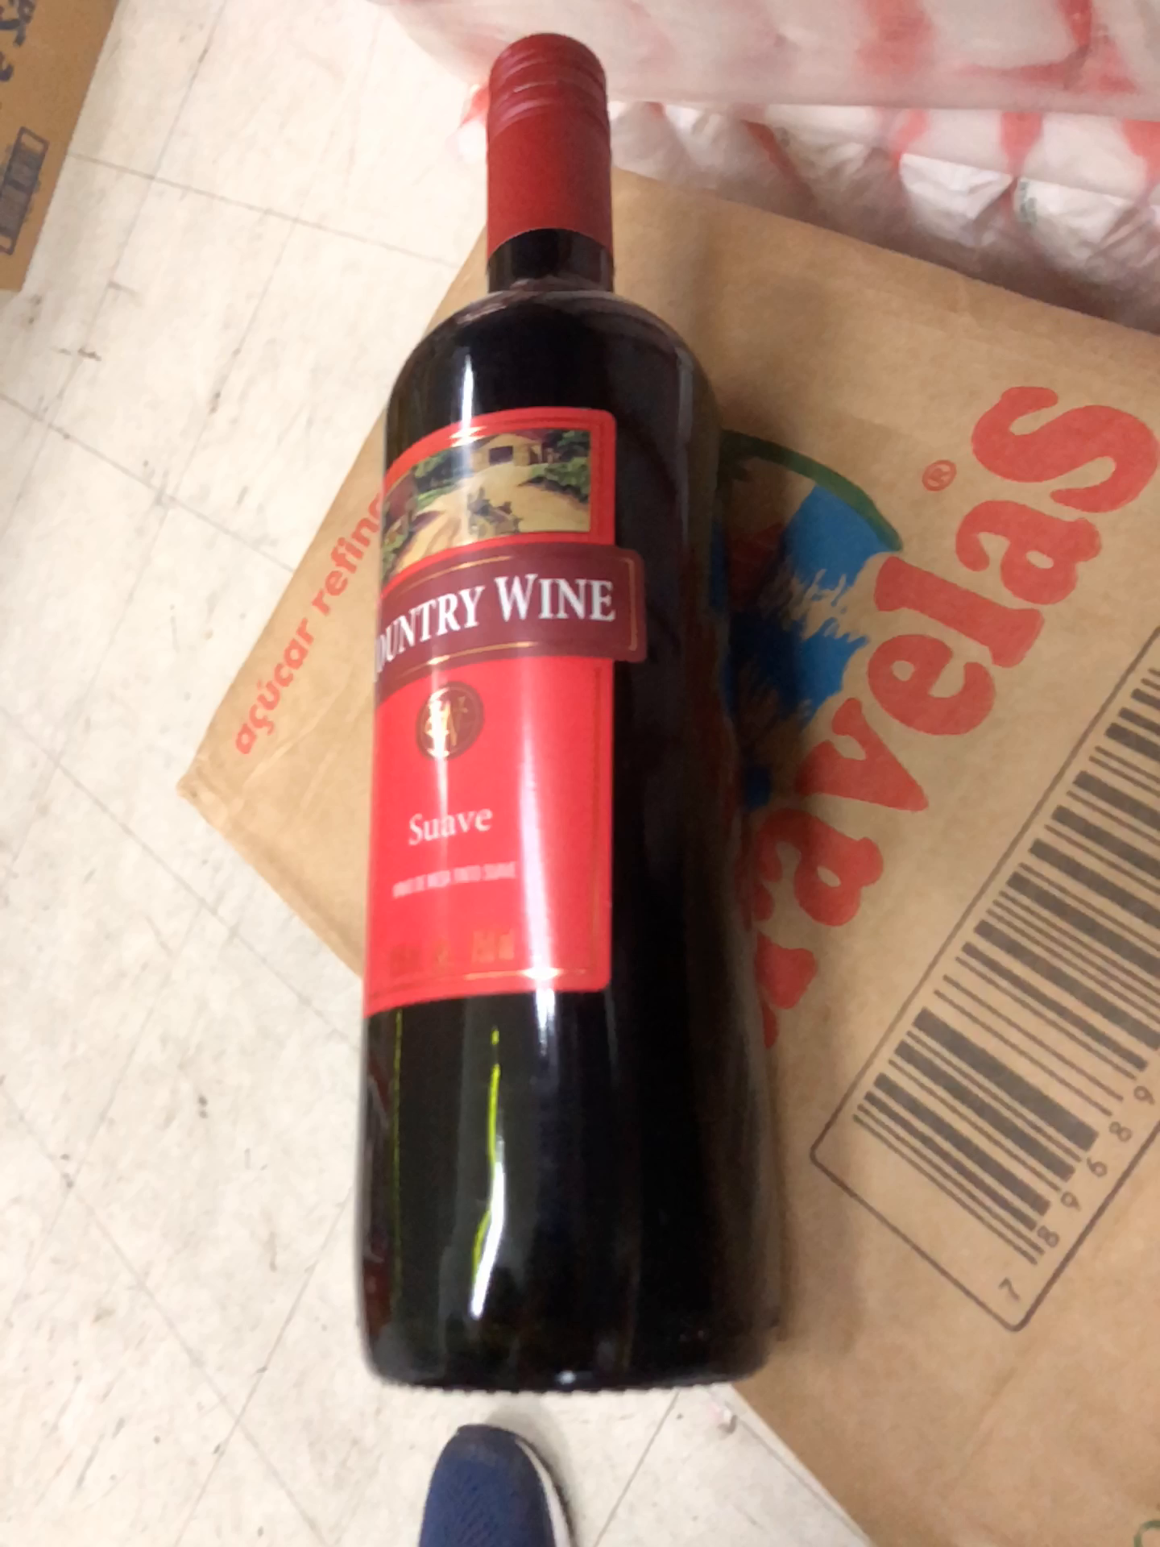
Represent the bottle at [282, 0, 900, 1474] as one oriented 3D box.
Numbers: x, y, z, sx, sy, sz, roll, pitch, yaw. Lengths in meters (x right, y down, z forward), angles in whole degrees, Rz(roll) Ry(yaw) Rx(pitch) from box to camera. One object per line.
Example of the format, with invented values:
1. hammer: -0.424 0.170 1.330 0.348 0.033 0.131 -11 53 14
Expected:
1. bottle: -0.007 -0.034 0.253 0.080 0.060 0.290 -16 71 34
